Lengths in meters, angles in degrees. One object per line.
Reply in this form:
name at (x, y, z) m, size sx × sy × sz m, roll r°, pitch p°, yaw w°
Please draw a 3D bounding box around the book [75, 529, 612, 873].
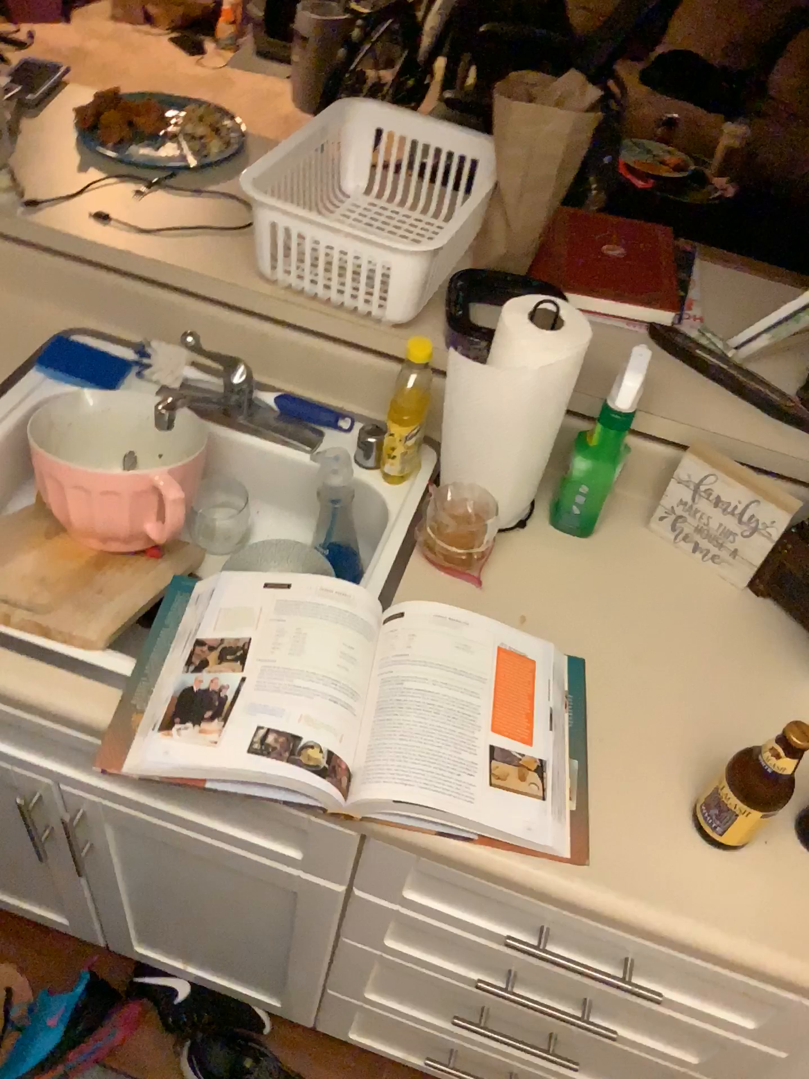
book at (-0.041, 0.161, 0.989) m, size 0.530 × 0.040 × 0.310 m, roll 11°, pitch 46°, yaw -1°
